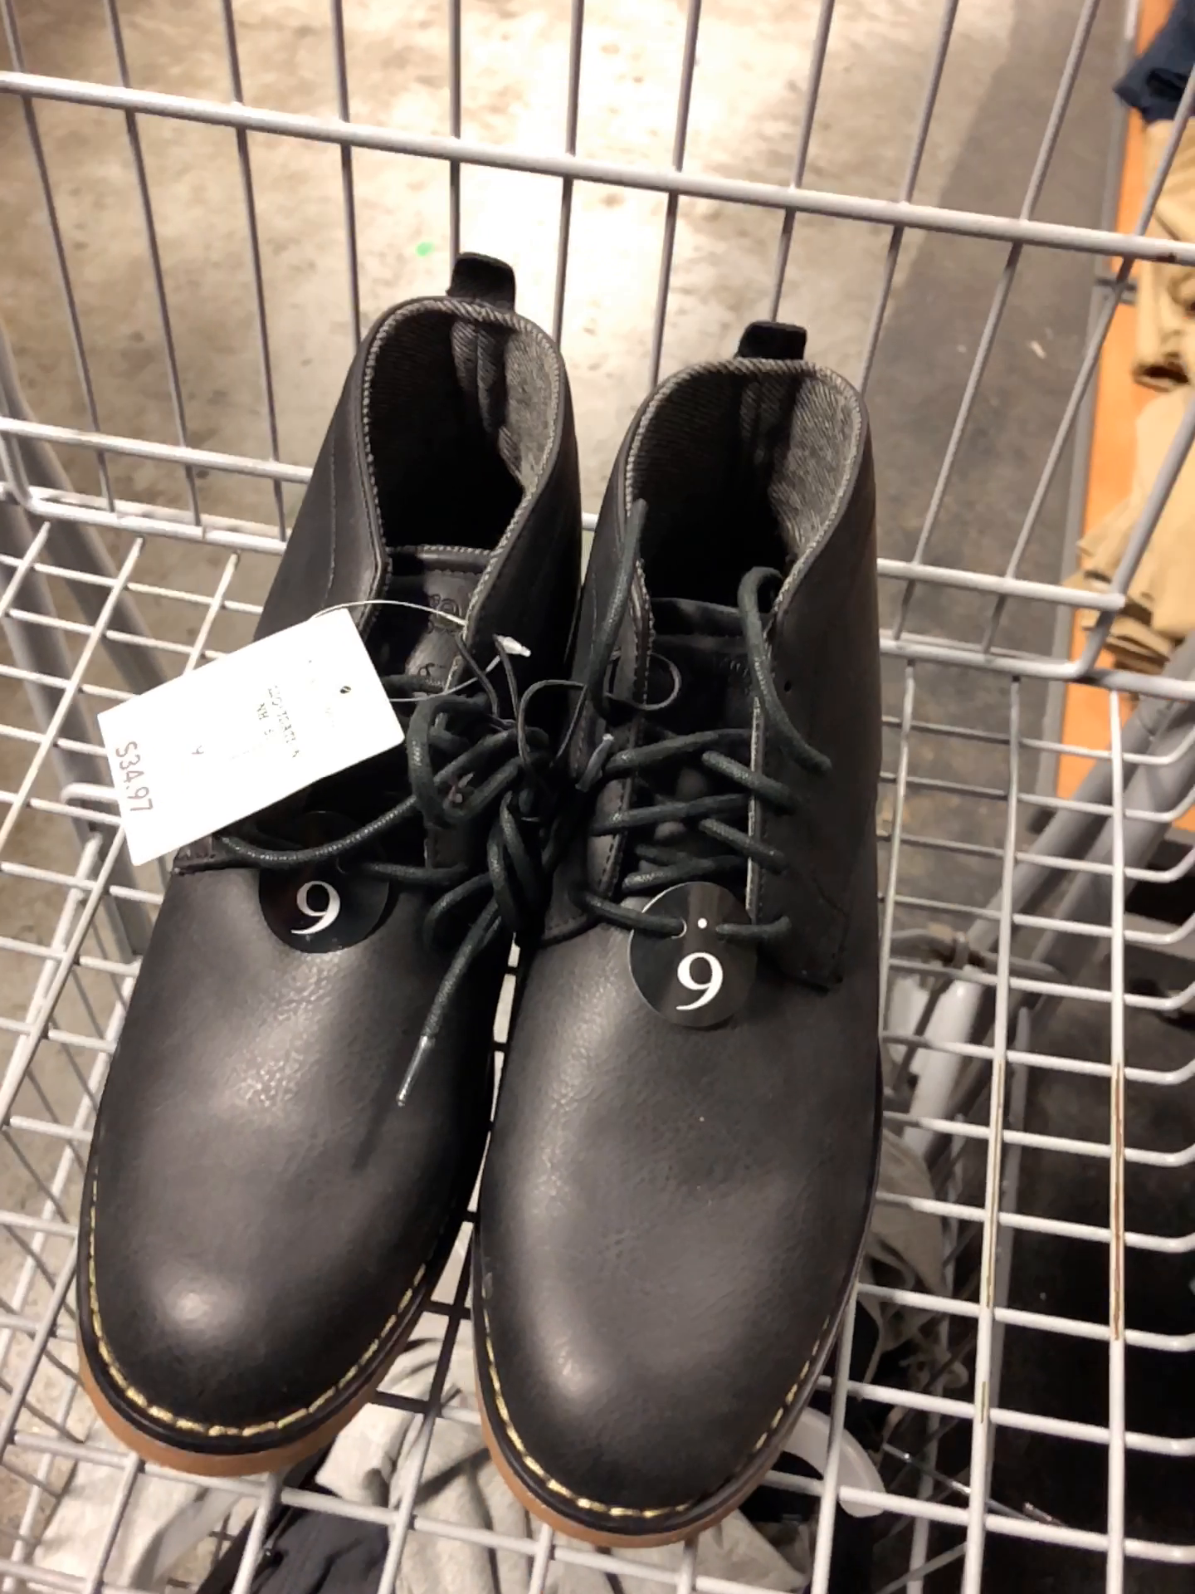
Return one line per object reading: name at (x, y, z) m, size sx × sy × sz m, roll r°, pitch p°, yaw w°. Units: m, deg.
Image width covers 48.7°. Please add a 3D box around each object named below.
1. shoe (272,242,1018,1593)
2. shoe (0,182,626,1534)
shoe at (0.024, 0.036, 0.337) m, size 0.100 × 0.199 × 0.272 m, roll 10°, pitch 58°, yaw 3°
shoe at (-0.071, 0.022, 0.330) m, size 0.100 × 0.199 × 0.261 m, roll 10°, pitch 58°, yaw 3°
